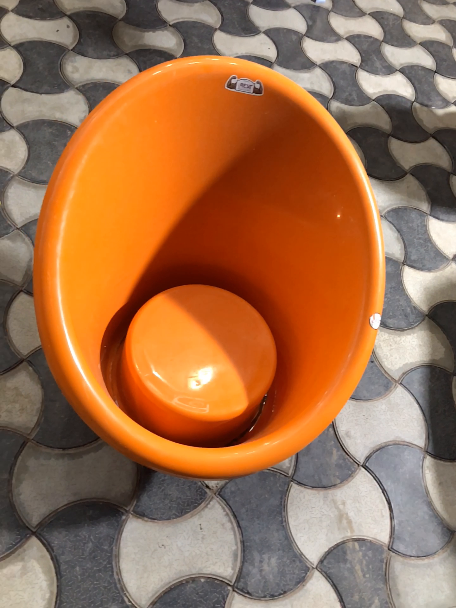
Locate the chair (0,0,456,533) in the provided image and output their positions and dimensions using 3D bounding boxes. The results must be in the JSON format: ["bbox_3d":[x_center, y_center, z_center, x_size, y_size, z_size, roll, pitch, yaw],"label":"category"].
[{"bbox_3d":[-0.019,-0.019,0.970,0.661,0.666,0.723,3,56,-12],"label":"chair"}]
